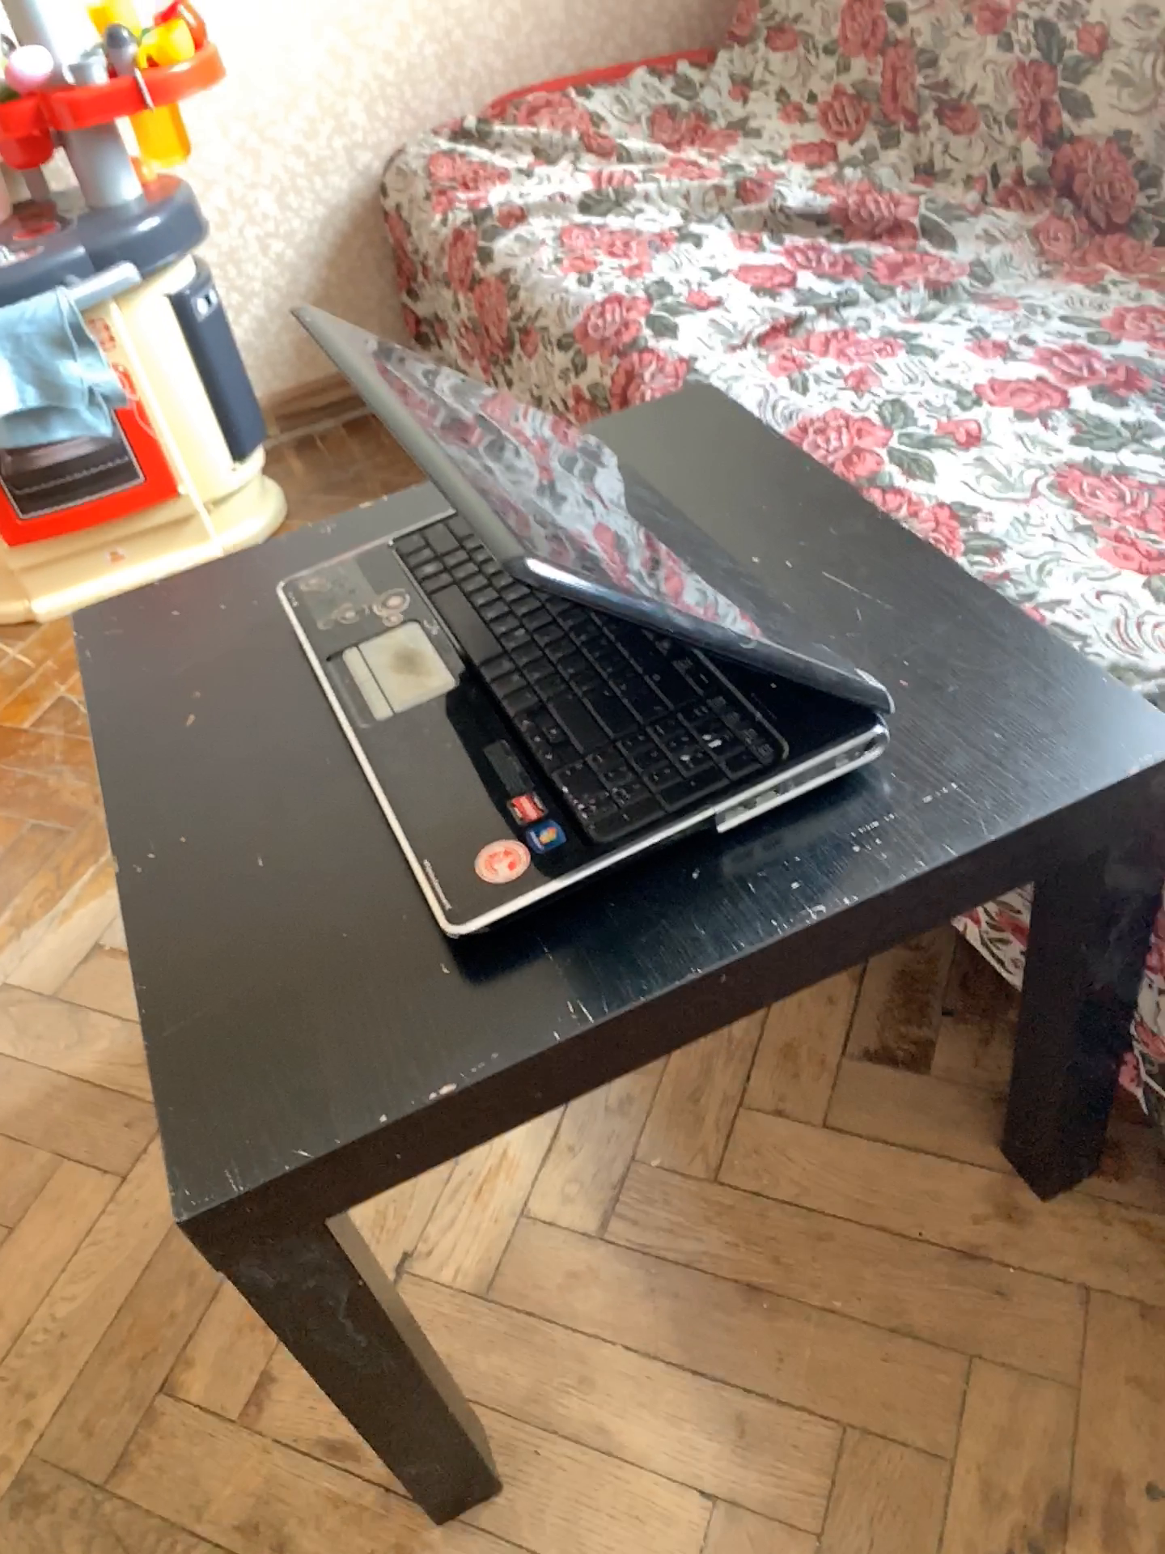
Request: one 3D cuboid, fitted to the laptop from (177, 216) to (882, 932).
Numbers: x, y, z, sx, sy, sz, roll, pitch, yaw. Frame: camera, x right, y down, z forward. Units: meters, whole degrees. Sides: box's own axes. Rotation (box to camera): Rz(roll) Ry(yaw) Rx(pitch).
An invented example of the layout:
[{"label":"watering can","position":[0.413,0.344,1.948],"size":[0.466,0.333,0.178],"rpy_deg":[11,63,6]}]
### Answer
[{"label":"laptop","position":[-0.046,-0.143,0.672],"size":[0.251,0.176,0.367],"rpy_deg":[-24,43,-11]}]
